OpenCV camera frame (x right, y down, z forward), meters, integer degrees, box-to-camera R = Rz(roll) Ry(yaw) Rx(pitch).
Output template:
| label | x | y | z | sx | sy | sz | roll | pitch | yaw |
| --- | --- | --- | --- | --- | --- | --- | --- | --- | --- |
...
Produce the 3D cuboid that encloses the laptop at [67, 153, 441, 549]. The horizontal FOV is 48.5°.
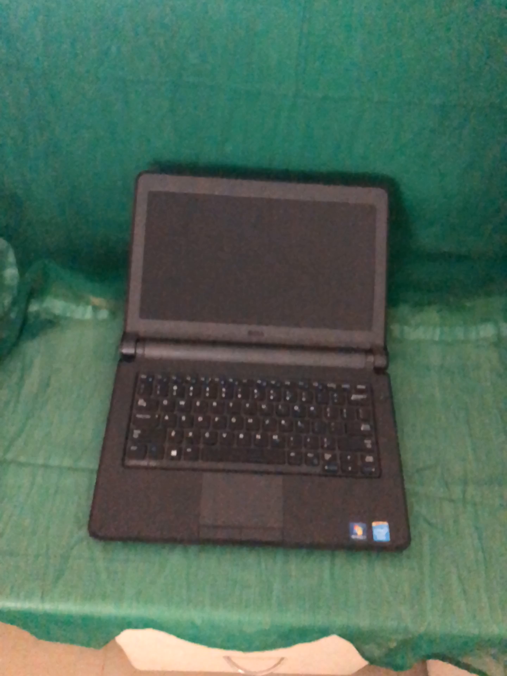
| label | x | y | z | sx | sy | sz | roll | pitch | yaw |
| --- | --- | --- | --- | --- | --- | --- | --- | --- | --- |
| laptop | 0.006 | -0.010 | 0.617 | 0.311 | 0.096 | 0.422 | 3 | 58 | -2 |
